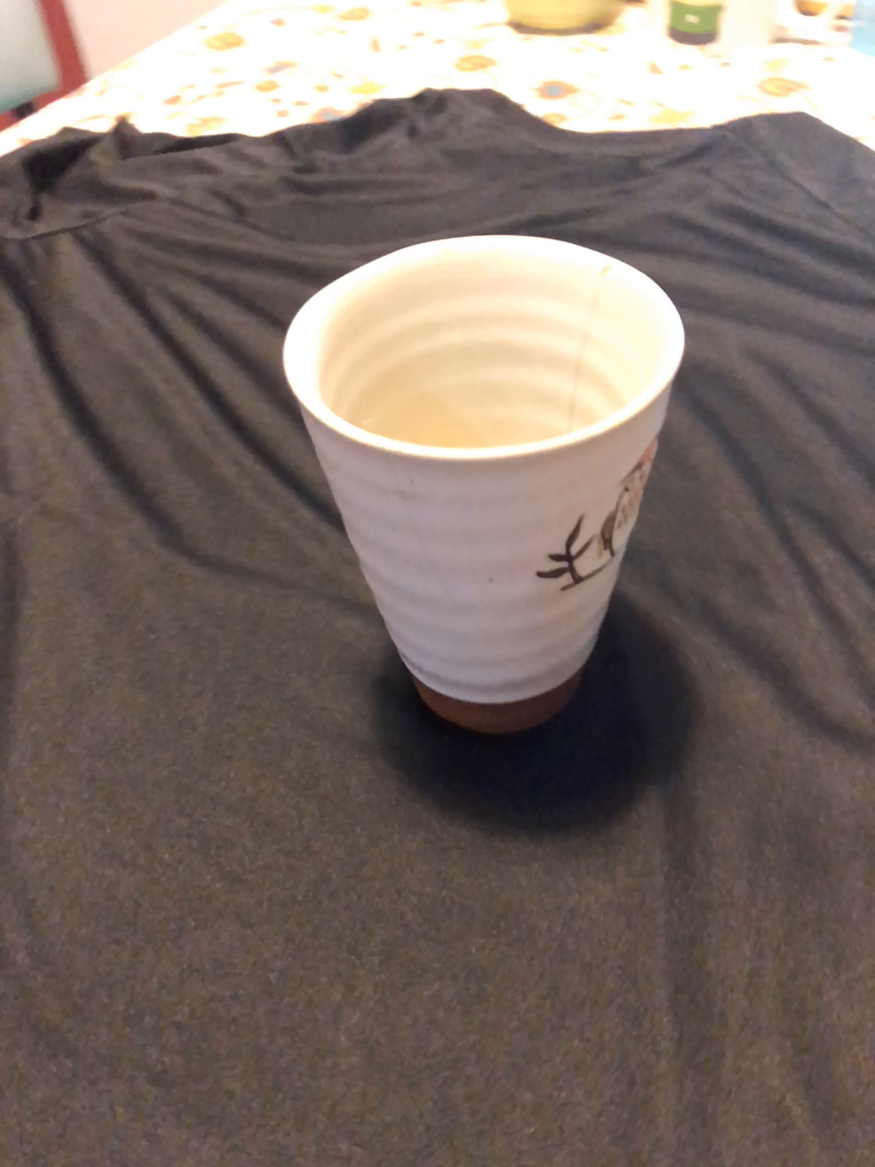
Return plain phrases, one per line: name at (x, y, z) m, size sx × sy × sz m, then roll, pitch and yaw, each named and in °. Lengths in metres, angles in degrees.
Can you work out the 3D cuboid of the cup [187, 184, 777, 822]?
cup at (0.012, -0.021, 0.235) m, size 0.090 × 0.099 × 0.080 m, roll 31°, pitch 56°, yaw 30°
